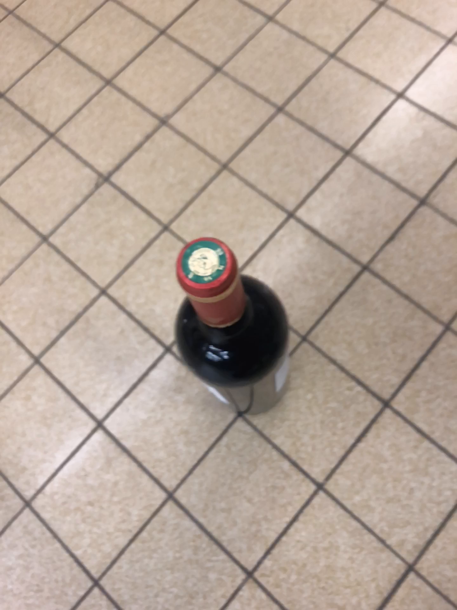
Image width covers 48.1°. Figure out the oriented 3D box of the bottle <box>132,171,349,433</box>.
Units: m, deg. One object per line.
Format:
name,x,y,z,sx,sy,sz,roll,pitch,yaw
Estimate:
bottle,0.016,0.029,0.368,0.090,0.288,0.090,-2,71,5
